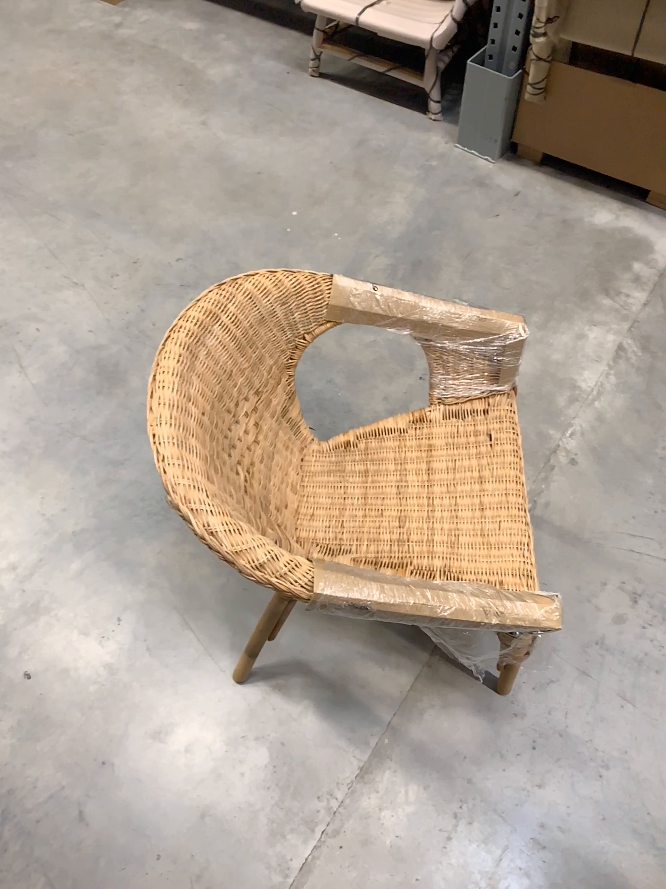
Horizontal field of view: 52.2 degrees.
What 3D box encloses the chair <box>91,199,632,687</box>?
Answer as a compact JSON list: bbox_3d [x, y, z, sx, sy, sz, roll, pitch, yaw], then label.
[{"bbox_3d":[0.052,0.048,1.297,0.650,0.758,0.601,1,57,3],"label":"chair"}]
